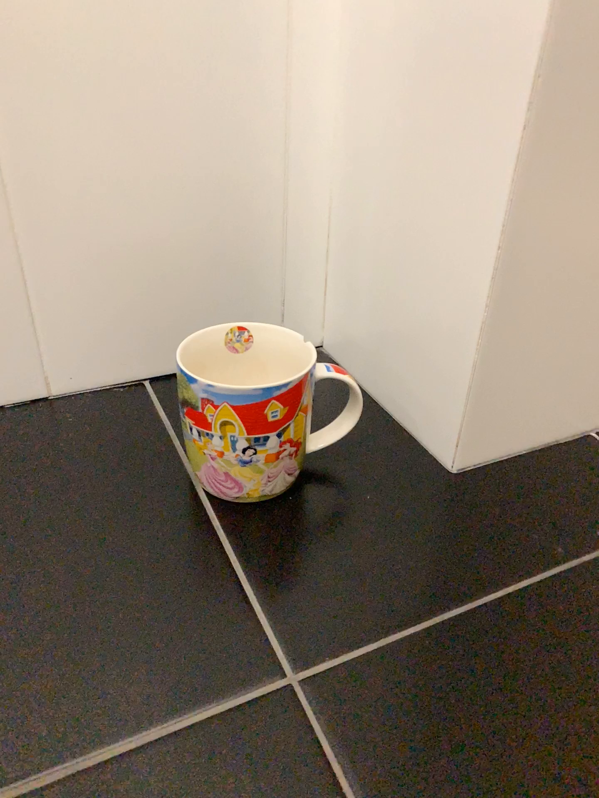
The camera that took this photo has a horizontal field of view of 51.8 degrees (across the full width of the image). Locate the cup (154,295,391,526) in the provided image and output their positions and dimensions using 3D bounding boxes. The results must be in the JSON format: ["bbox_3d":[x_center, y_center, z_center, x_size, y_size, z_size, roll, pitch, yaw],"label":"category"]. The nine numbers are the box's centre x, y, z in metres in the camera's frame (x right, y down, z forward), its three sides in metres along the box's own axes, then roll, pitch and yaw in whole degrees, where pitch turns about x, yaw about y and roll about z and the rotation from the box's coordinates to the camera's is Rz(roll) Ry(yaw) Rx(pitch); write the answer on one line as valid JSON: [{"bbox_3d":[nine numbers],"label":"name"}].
[{"bbox_3d":[-0.020,0.002,0.415,0.124,0.099,0.086,-15,36,-25],"label":"cup"}]
